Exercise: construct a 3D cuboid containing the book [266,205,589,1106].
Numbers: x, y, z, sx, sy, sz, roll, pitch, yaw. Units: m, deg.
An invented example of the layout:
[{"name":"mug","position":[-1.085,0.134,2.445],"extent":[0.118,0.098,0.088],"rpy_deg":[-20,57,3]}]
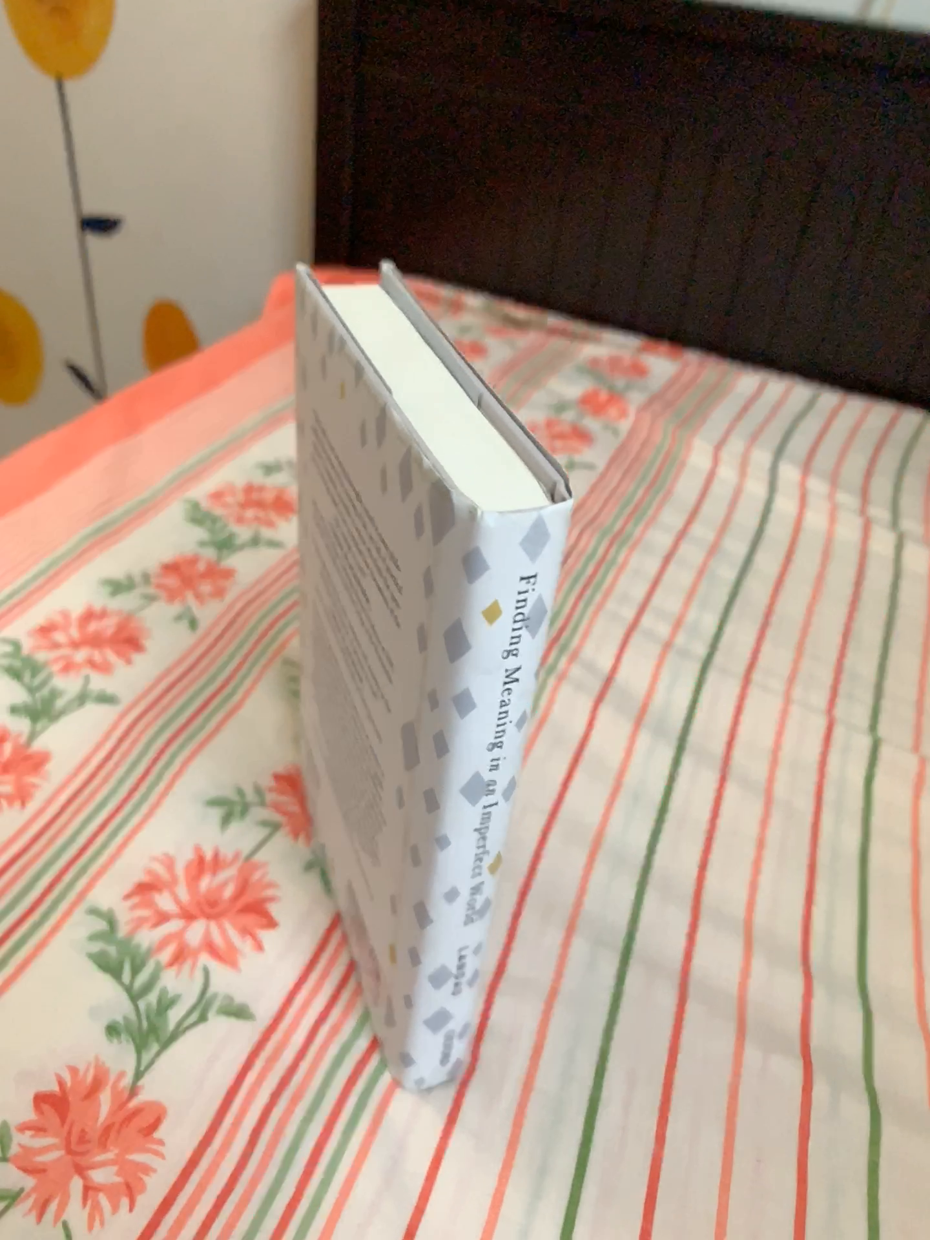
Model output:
[{"name":"book","position":[-0.028,0.010,0.298],"extent":[0.030,0.218,0.161],"rpy_deg":[-8,38,-19]}]
